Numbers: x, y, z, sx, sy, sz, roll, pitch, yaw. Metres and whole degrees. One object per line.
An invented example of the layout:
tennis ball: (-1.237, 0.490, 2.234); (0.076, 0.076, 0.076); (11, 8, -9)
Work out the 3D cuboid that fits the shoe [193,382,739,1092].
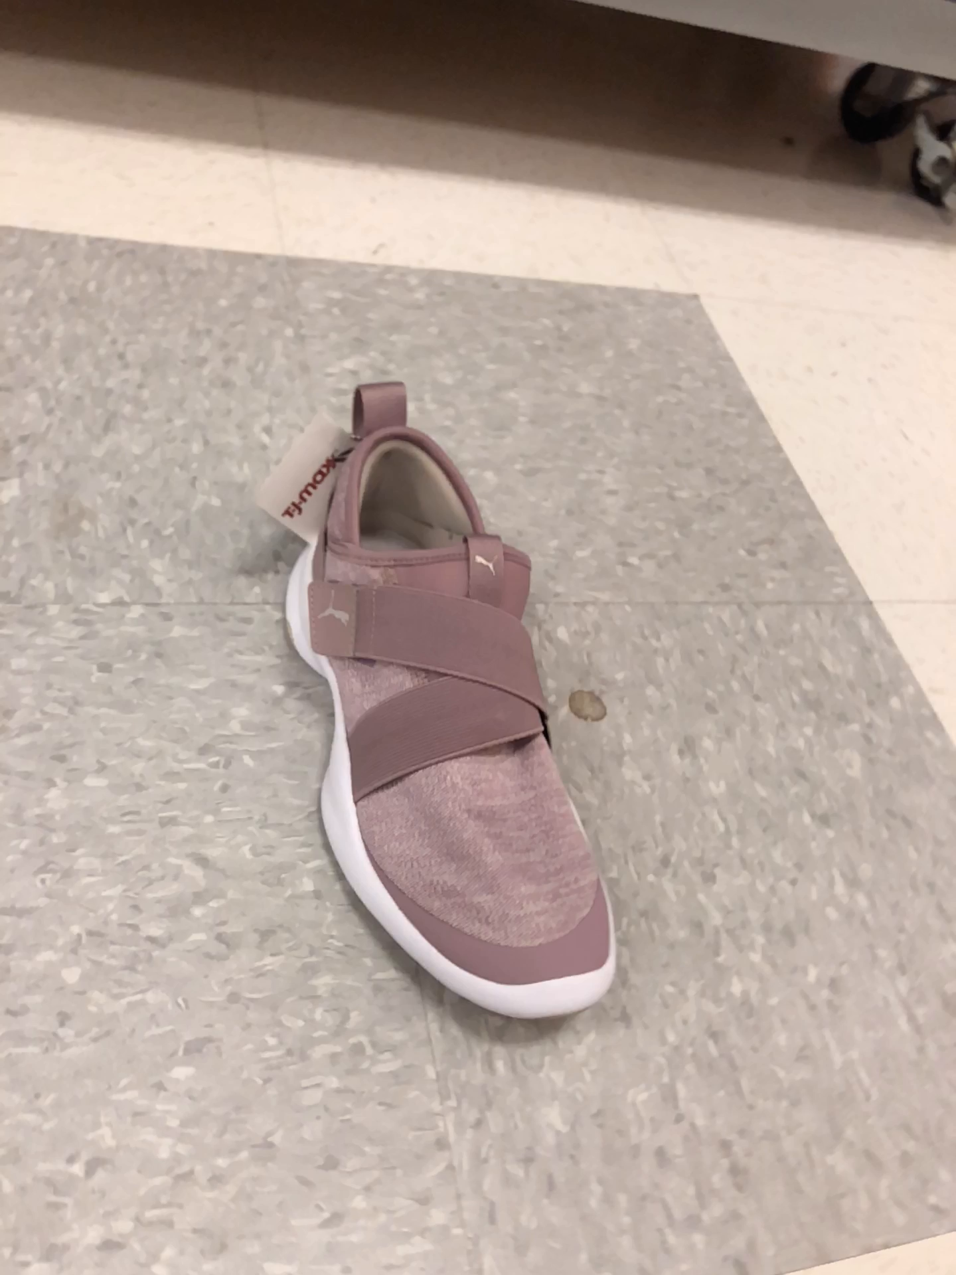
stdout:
shoe: (-0.025, 0.021, 0.438); (0.105, 0.093, 0.272); (-11, 55, -27)
